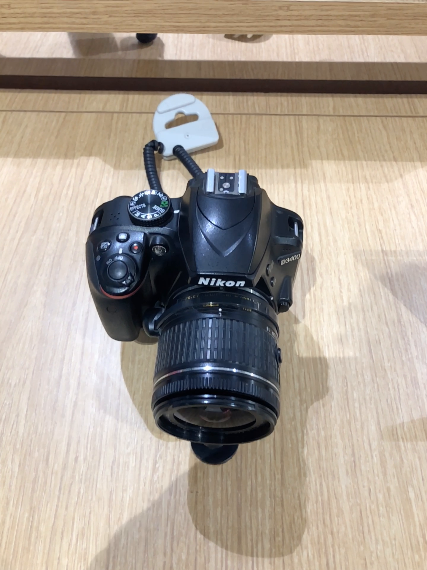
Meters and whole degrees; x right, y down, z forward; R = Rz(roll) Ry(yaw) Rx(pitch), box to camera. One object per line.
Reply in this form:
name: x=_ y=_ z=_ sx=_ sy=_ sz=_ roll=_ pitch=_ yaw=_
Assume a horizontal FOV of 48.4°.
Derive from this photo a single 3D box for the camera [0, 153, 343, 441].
camera: x=-0.016 y=0.006 z=0.247 sx=0.133 sy=0.084 sz=0.121 roll=1 pitch=55 yaw=1
